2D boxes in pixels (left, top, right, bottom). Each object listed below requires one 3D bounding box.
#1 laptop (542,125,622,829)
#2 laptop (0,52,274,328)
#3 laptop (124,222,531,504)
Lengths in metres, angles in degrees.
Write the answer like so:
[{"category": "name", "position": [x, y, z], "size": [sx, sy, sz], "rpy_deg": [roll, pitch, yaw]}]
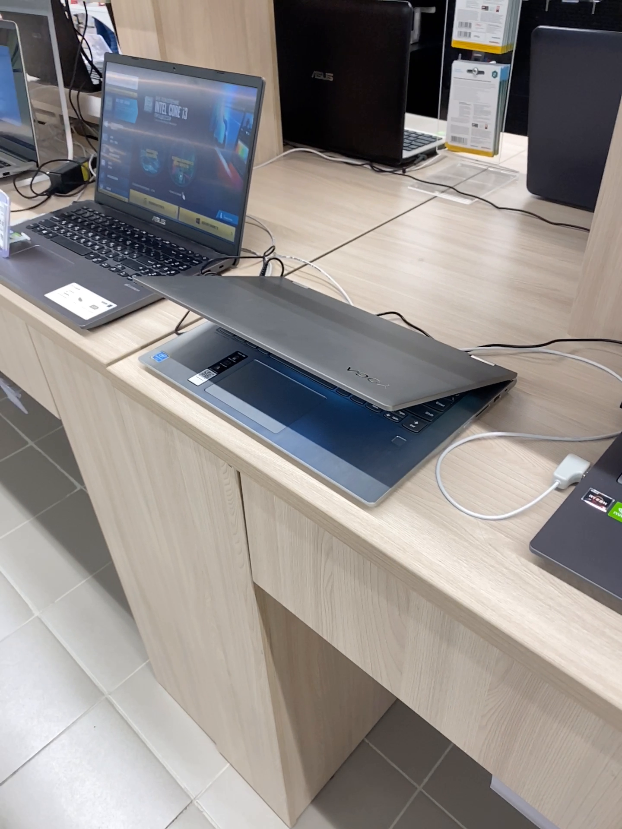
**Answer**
[{"category": "laptop", "position": [0.403, 0.012, 0.371], "size": [0.390, 0.215, 0.303], "rpy_deg": [27, 48, 32]}, {"category": "laptop", "position": [-0.291, -0.328, 0.851], "size": [0.353, 0.212, 0.308], "rpy_deg": [29, 48, 34]}, {"category": "laptop", "position": [0.006, -0.079, 0.628], "size": [0.326, 0.082, 0.218], "rpy_deg": [29, 49, 35]}]
